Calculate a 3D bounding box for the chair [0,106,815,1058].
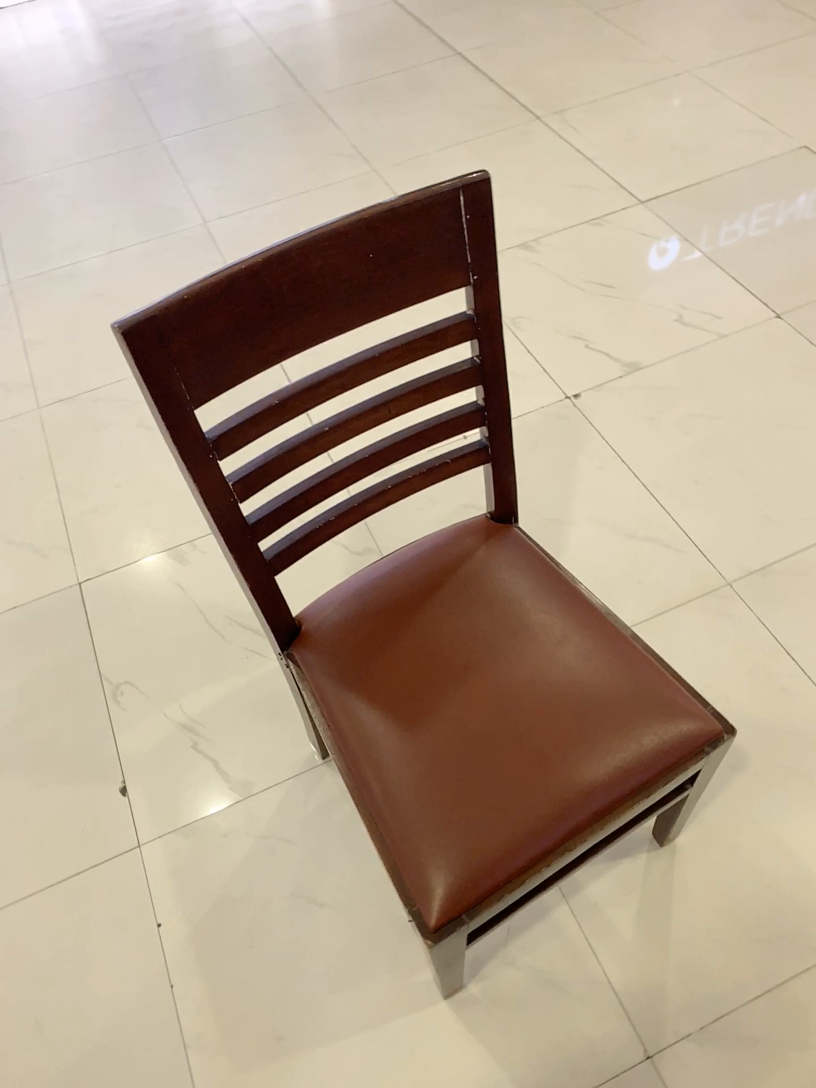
[{"bbox_3d":[0.039,0.089,0.944,0.561,0.784,0.543,-28,54,-15],"label":"chair"}]
